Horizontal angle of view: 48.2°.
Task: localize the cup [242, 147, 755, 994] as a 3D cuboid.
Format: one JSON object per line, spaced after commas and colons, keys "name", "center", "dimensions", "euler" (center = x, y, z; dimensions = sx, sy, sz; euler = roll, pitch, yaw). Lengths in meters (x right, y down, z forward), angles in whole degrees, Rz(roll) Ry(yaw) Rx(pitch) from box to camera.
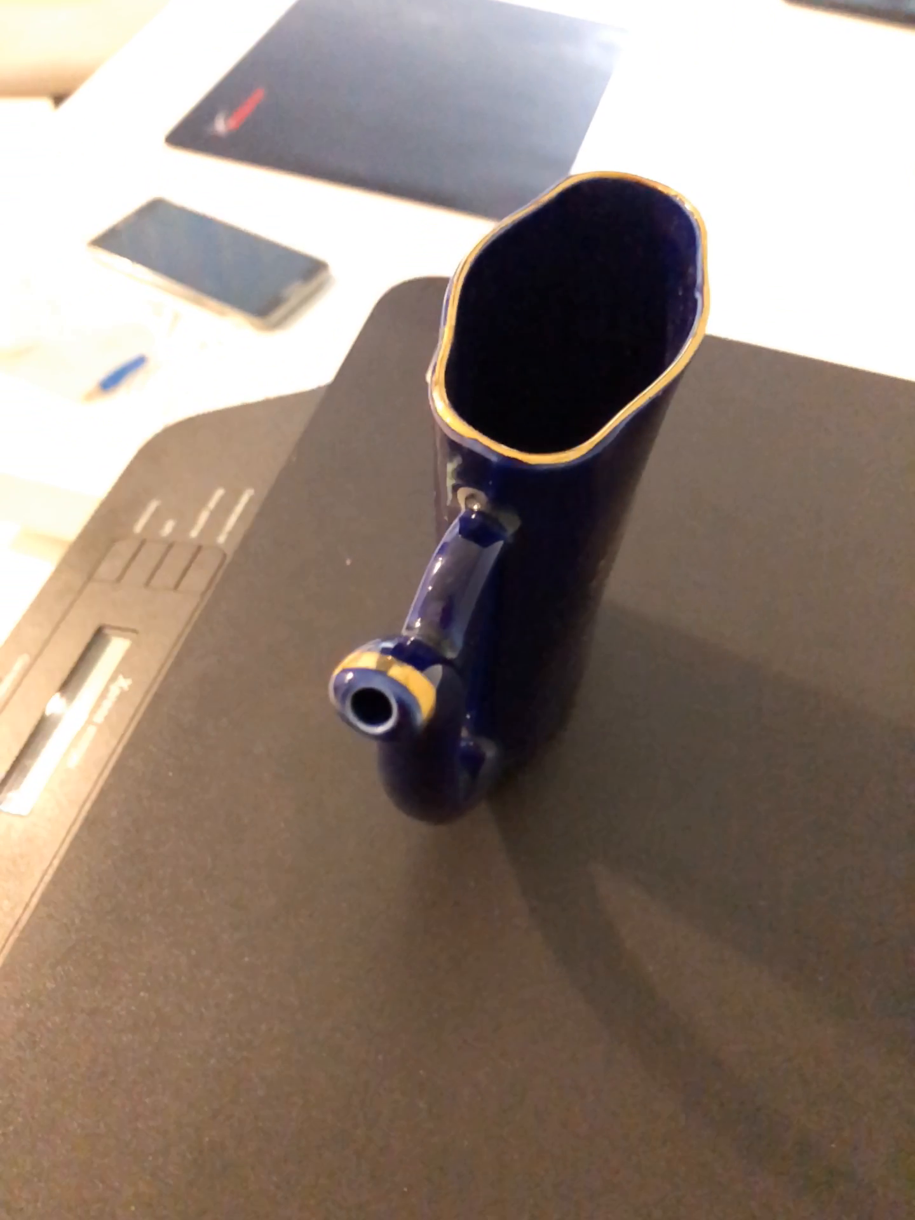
{"name": "cup", "center": [0.013, -0.008, 0.214], "dimensions": [0.050, 0.109, 0.131], "euler": [16, 53, 9]}
